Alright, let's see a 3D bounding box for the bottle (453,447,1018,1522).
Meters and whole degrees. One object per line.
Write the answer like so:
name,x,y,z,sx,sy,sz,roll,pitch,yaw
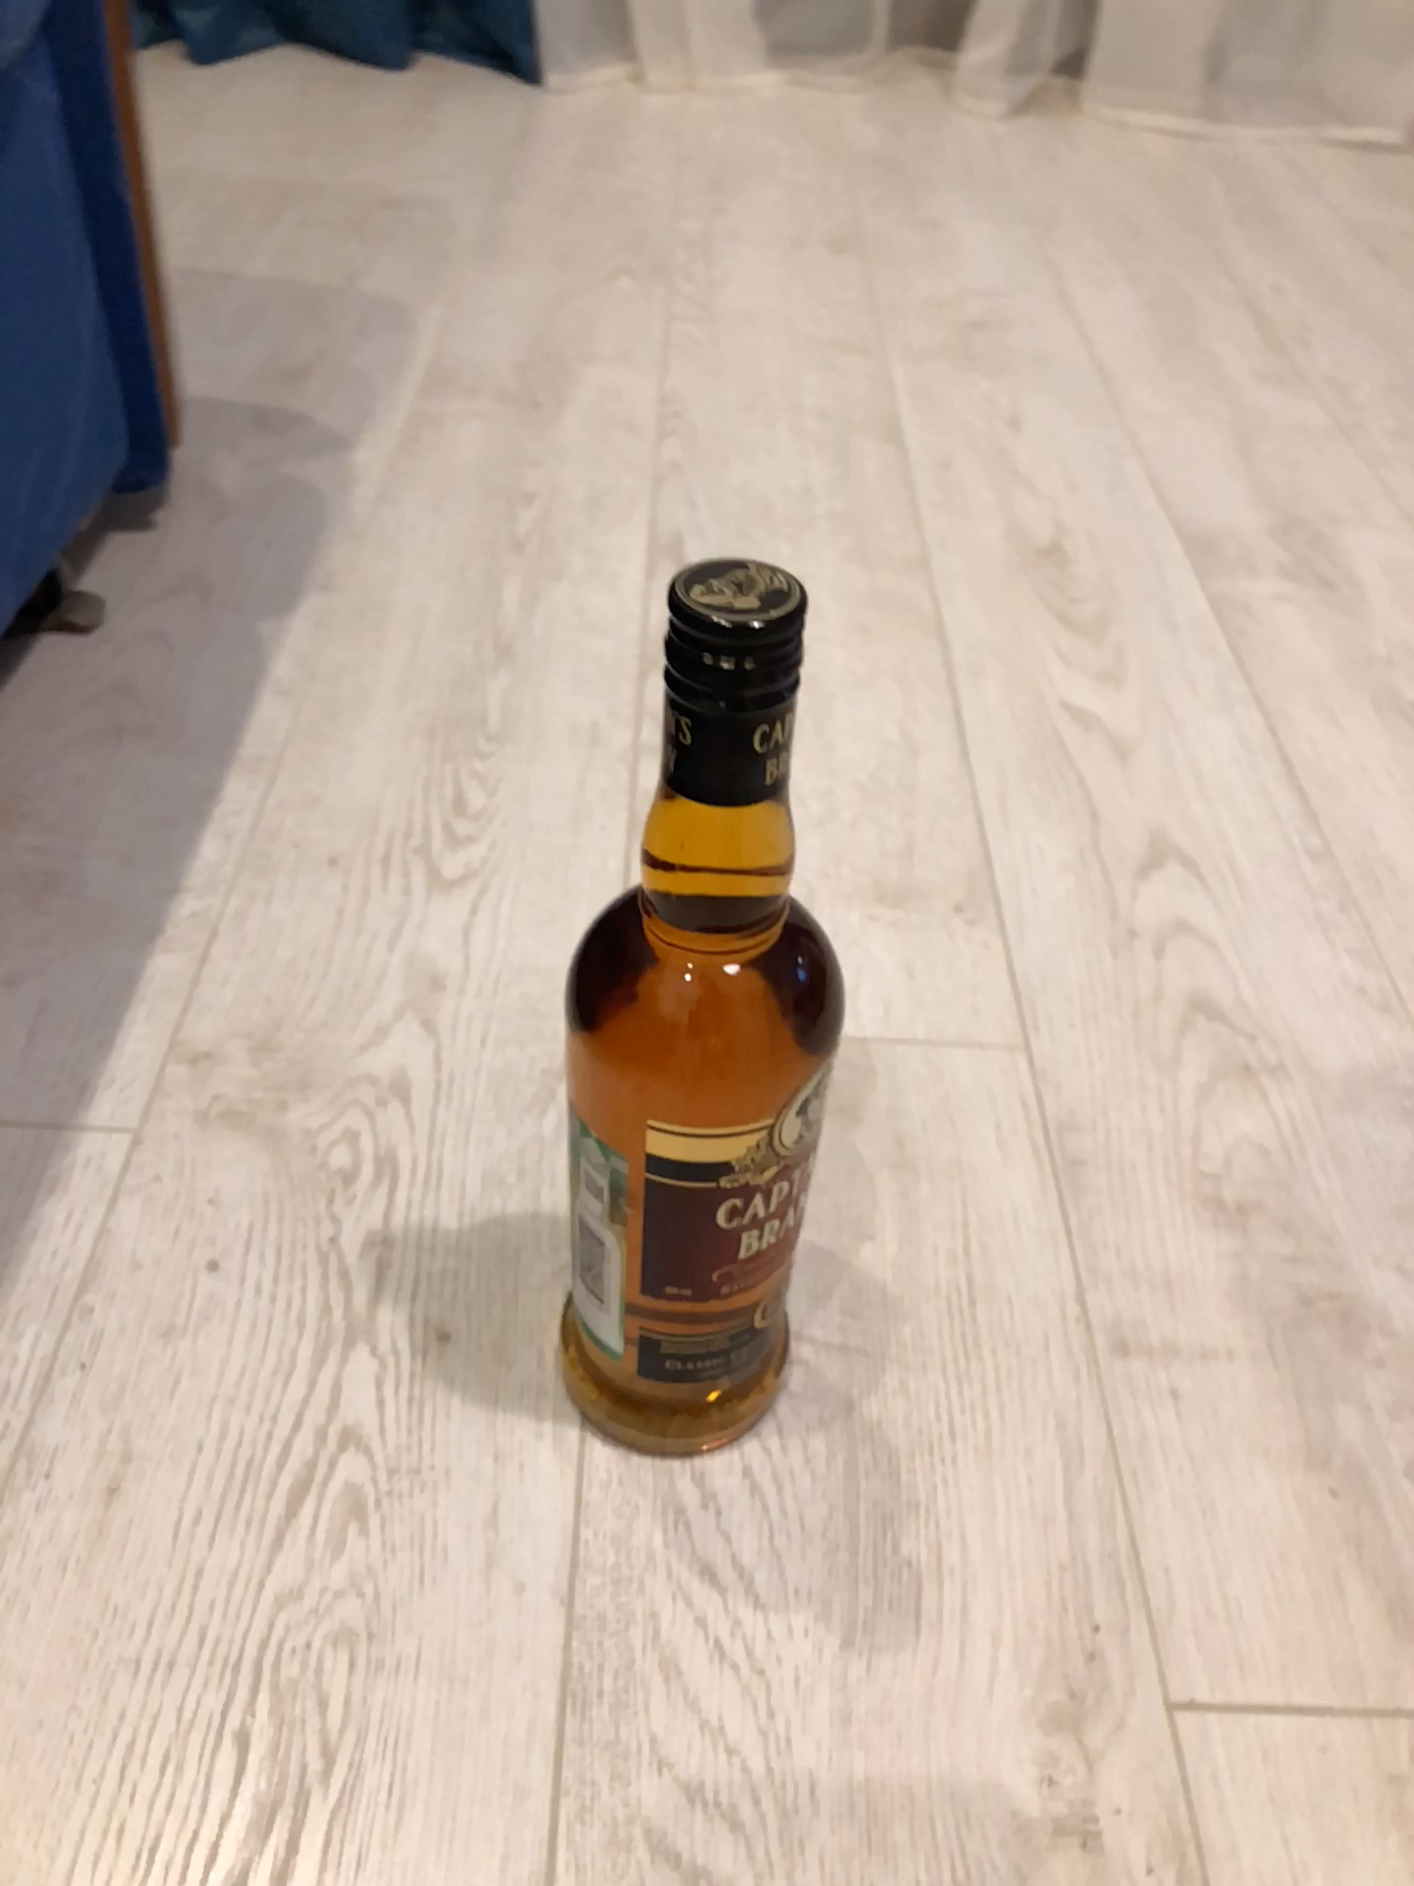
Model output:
bottle,-0.001,0.024,0.389,0.080,0.257,0.081,3,40,-3
